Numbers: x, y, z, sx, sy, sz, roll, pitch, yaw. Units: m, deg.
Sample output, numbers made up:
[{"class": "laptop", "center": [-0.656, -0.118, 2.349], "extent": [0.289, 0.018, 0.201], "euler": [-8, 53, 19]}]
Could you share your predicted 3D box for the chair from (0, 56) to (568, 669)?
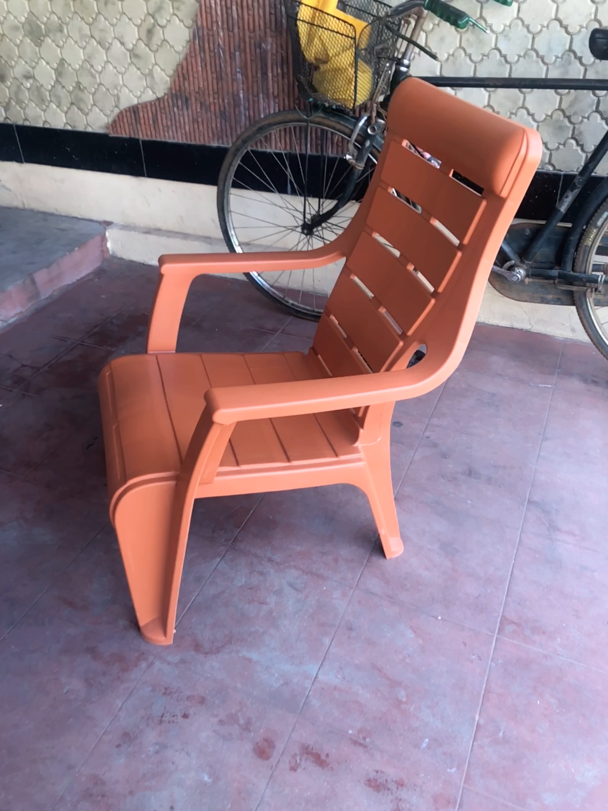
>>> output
[{"class": "chair", "center": [-0.116, -0.139, 1.259], "extent": [0.761, 0.786, 0.693], "euler": [-12, 37, -13]}]
